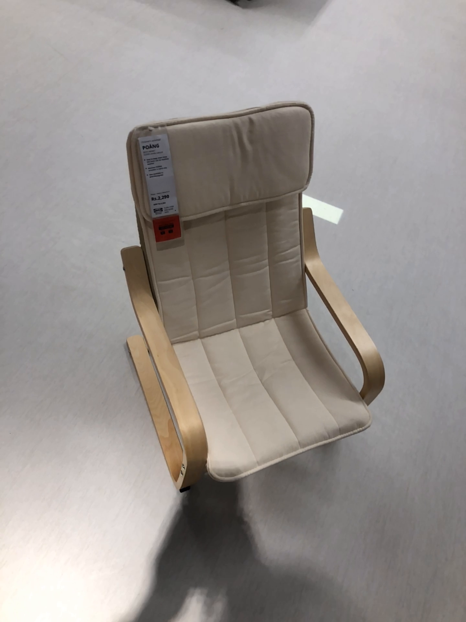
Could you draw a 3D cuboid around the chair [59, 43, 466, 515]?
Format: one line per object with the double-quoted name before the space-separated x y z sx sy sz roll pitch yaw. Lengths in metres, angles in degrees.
"chair" 0.046 0.001 1.168 0.561 0.836 0.582 -18 63 -14
